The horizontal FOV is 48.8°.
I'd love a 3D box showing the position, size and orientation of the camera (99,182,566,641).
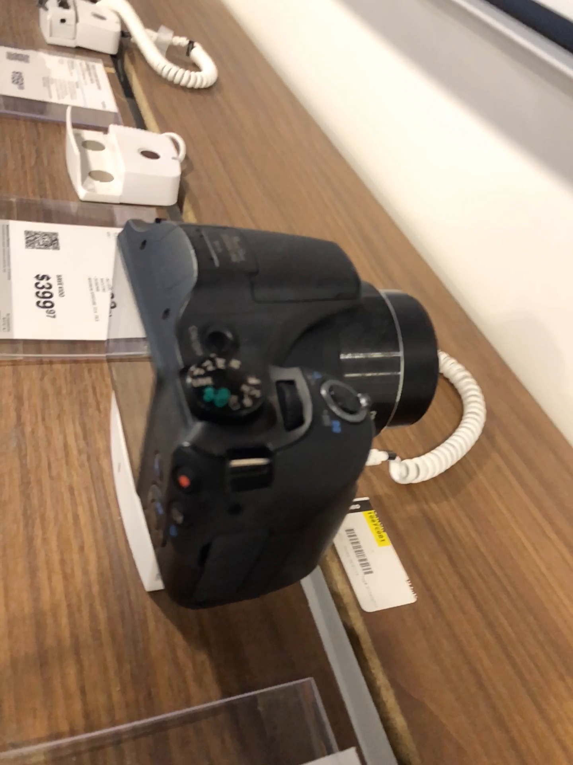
[{"bbox_3d":[0.001,0.002,0.219,0.101,0.080,0.121,-4,46,-27],"label":"camera"}]
